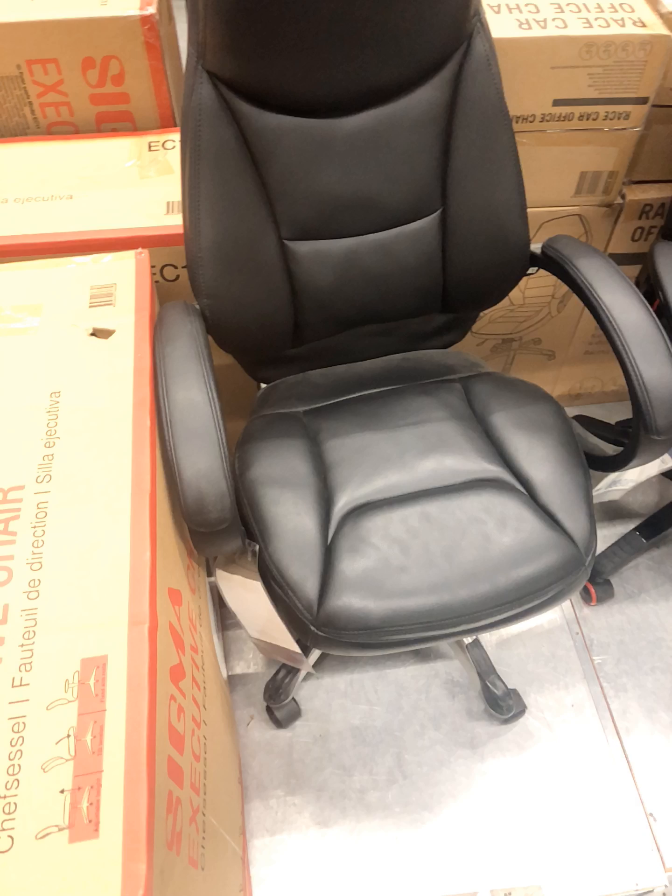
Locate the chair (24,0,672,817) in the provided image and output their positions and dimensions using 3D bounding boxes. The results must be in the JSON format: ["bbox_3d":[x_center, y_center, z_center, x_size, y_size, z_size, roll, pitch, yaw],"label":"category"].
[{"bbox_3d":[0.110,-0.082,1.067,0.720,1.064,0.744,-13,54,-11],"label":"chair"}]
